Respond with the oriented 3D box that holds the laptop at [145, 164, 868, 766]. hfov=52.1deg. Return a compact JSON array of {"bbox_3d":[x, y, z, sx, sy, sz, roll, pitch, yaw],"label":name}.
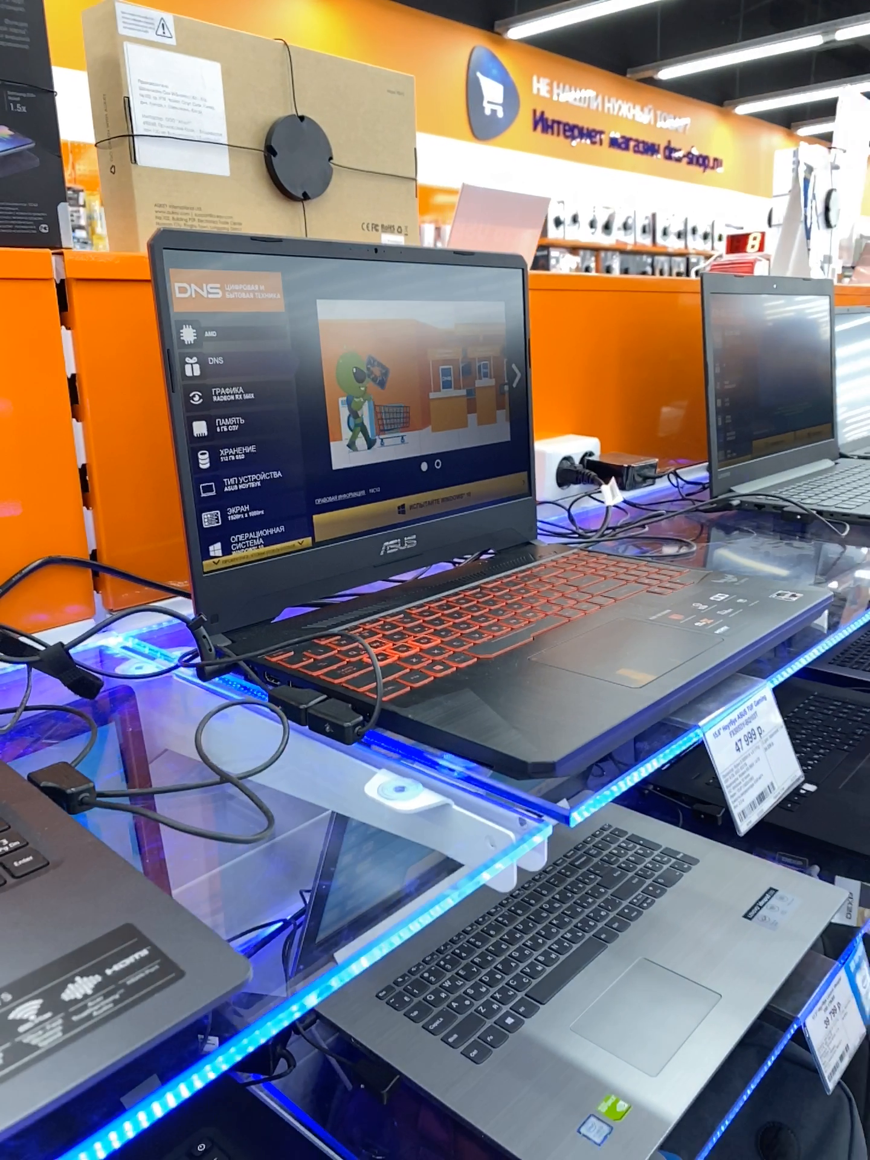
[{"bbox_3d":[0.062,-0.097,0.586,0.286,0.248,0.360,12,20,41],"label":"laptop"}]
